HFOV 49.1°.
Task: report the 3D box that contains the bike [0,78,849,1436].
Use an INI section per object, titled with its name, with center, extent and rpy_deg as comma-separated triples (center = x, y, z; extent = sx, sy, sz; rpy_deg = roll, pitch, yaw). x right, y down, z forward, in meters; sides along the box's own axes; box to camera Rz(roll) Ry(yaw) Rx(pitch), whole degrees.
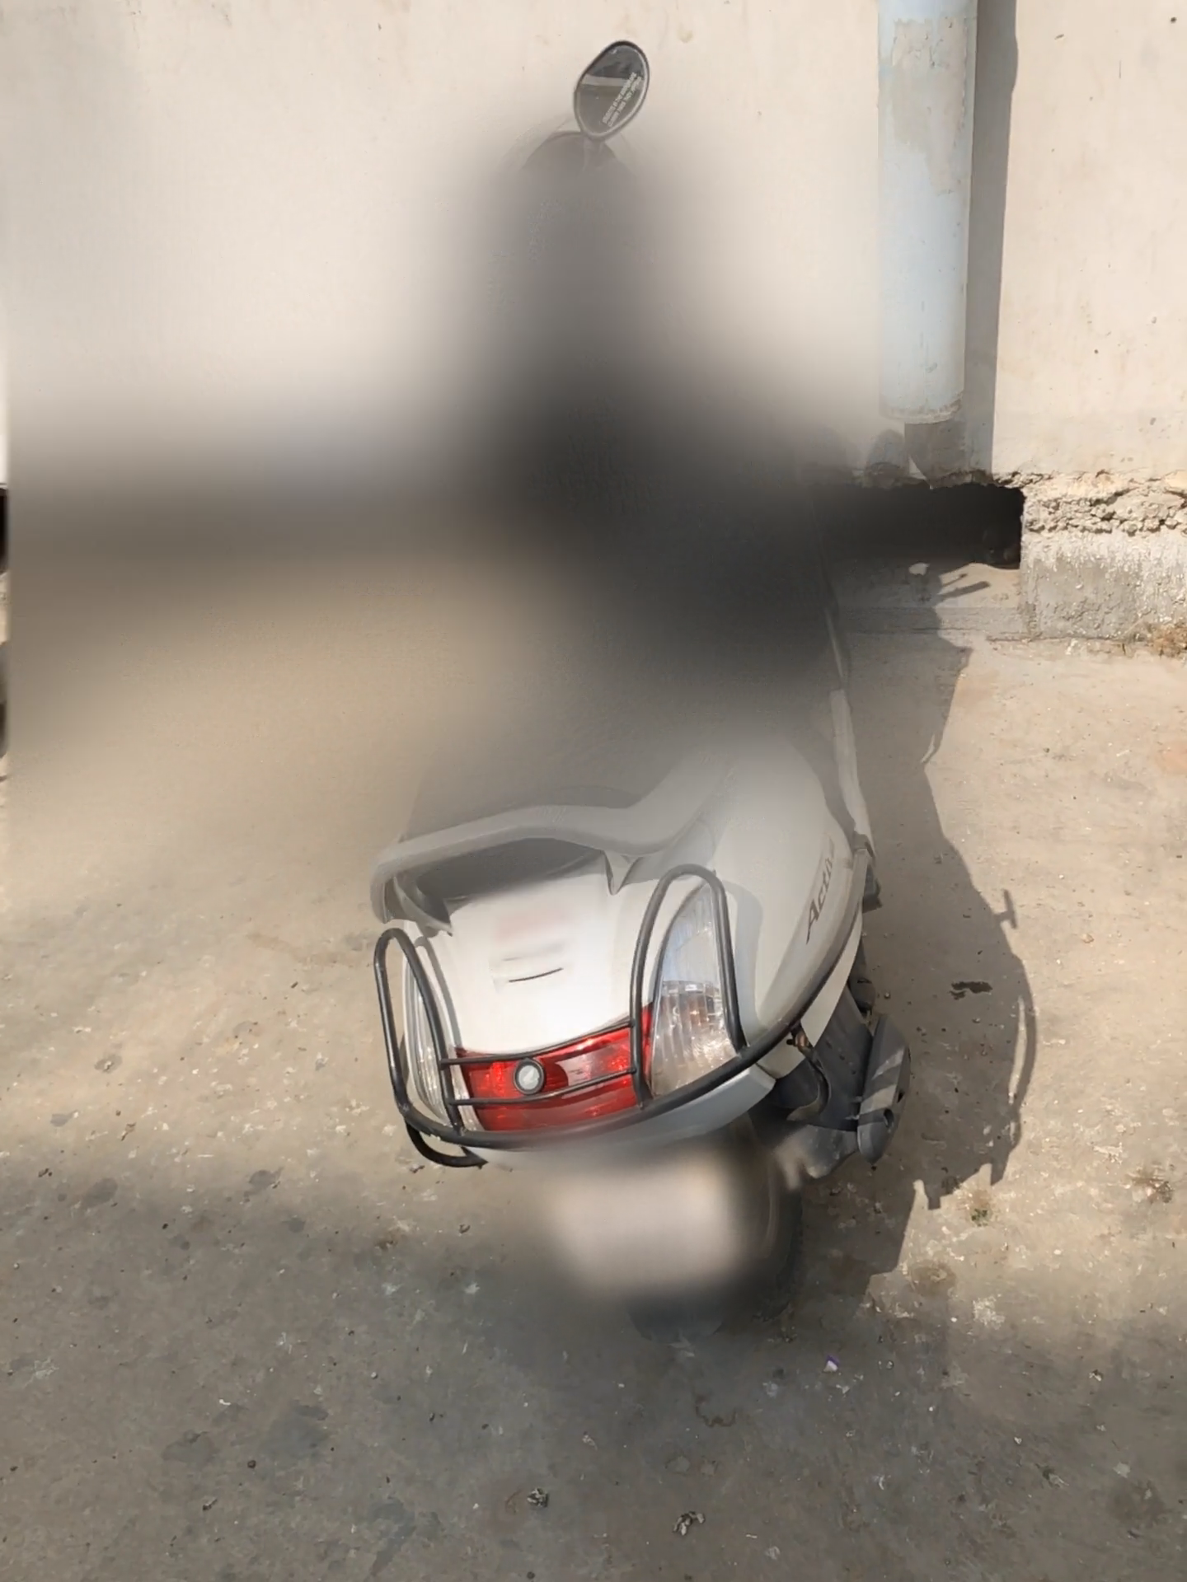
[bike]
center = -0.176, -0.132, 1.727
extent = 0.625, 1.122, 1.307
rpy_deg = -8, 37, 1
